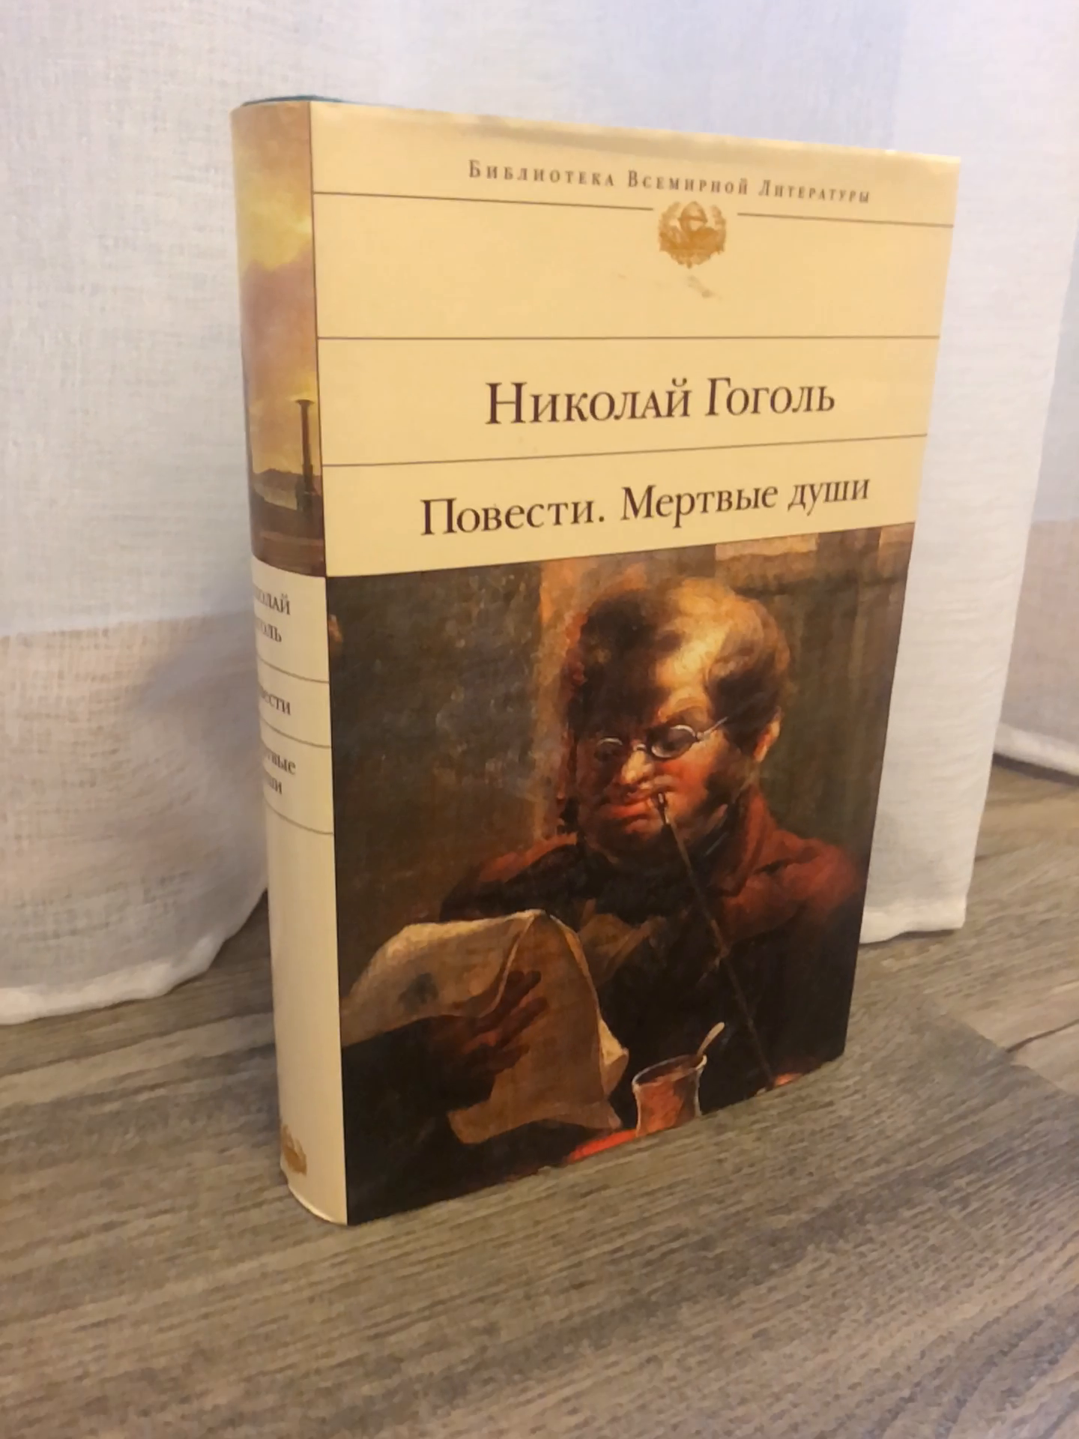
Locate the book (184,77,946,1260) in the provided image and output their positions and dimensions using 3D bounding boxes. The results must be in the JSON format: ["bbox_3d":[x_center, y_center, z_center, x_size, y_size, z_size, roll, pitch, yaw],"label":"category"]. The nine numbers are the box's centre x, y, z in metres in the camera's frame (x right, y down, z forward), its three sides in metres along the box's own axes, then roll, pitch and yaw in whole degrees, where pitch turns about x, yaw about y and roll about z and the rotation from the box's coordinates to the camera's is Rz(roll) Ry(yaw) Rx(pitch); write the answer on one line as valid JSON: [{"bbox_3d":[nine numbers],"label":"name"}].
[{"bbox_3d":[0.006,-0.008,0.251,0.134,0.210,0.041,-9,23,-27],"label":"book"}]
